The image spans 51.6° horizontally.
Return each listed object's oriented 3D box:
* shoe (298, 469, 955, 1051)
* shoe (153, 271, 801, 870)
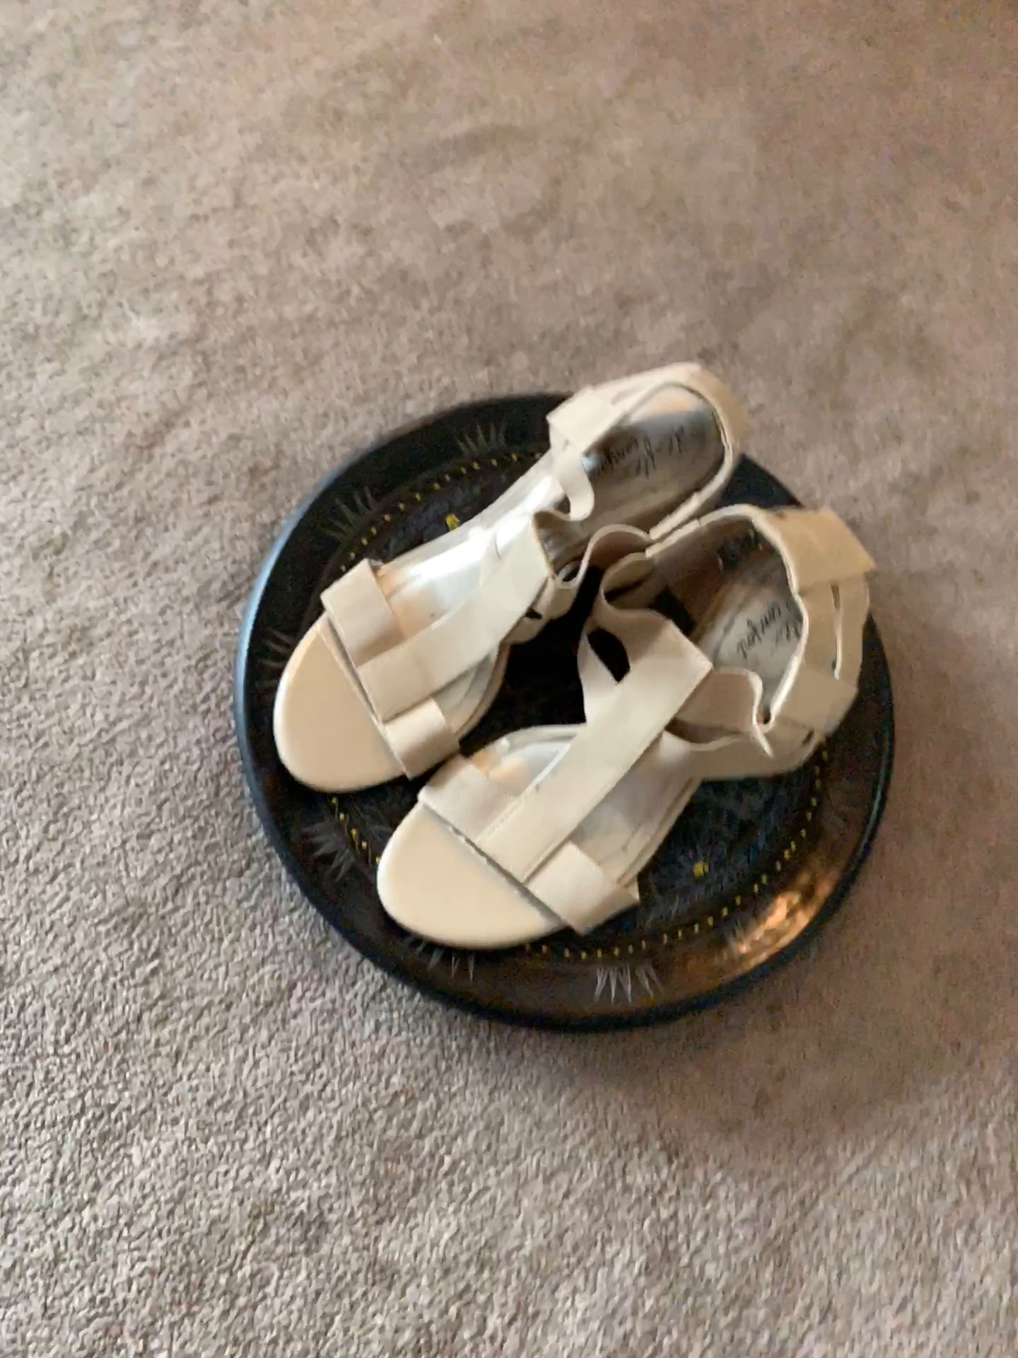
[{"bbox_3d":[0.044,0.033,0.413,0.220,0.090,0.090,-37,78,0],"label":"shoe"},{"bbox_3d":[-0.011,-0.040,0.436,0.230,0.090,0.100,-40,87,0],"label":"shoe"}]
